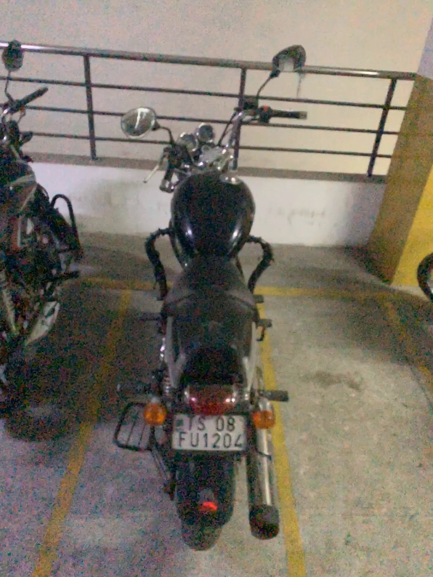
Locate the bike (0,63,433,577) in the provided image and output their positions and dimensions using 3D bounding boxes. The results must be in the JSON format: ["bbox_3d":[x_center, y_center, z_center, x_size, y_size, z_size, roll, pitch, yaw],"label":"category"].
[{"bbox_3d":[-0.150,-0.062,1.803,0.851,1.232,1.807,-1,35,-8],"label":"bike"}]

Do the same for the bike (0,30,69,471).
[{"bbox_3d":[-1.271,-0.319,2.096,0.719,1.277,1.572,1,37,-5],"label":"bike"}]
